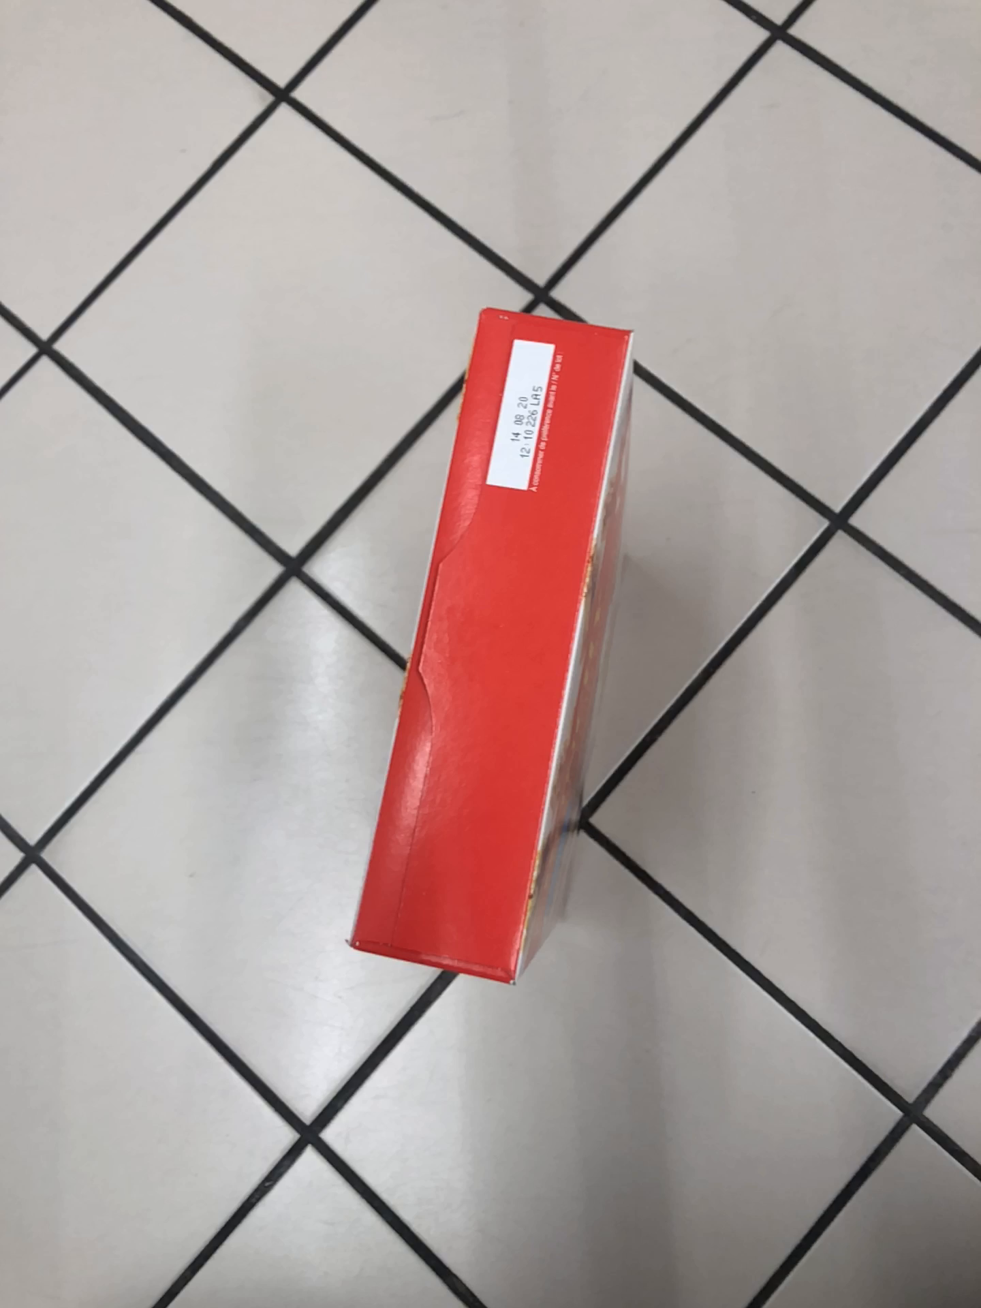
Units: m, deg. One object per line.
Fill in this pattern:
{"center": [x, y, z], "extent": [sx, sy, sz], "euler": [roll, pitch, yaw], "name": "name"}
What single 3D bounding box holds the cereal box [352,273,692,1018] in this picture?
{"center": [0.024, 0.013, 0.418], "extent": [0.060, 0.250, 0.200], "euler": [9, 81, 8], "name": "cereal box"}
